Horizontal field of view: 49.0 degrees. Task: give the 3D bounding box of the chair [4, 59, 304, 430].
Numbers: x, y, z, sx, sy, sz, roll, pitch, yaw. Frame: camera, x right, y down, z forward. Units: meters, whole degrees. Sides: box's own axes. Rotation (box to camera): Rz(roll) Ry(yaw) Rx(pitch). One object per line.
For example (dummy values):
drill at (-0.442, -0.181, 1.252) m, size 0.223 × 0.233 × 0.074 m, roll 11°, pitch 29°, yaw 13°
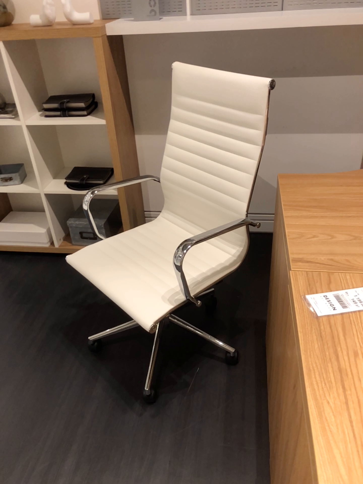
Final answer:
chair at (-0.066, -0.036, 1.444) m, size 0.632 × 1.012 × 0.633 m, roll -28°, pitch 40°, yaw -32°
